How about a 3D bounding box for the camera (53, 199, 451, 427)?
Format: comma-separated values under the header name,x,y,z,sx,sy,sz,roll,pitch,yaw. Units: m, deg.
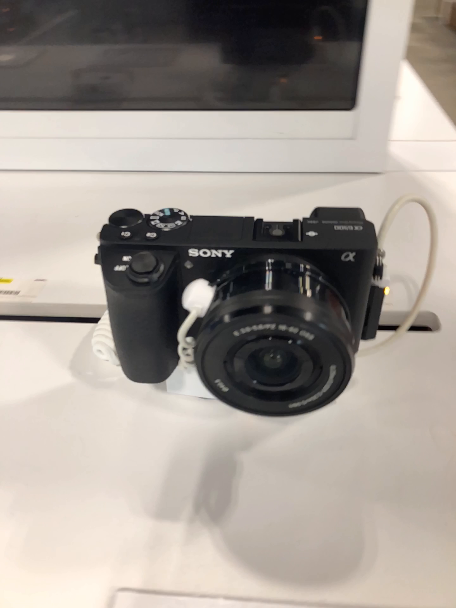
name,x,y,z,sx,sy,sz,roll,pitch,yaw
camera,0.009,0.002,0.226,0.140,0.070,0.070,1,39,3
